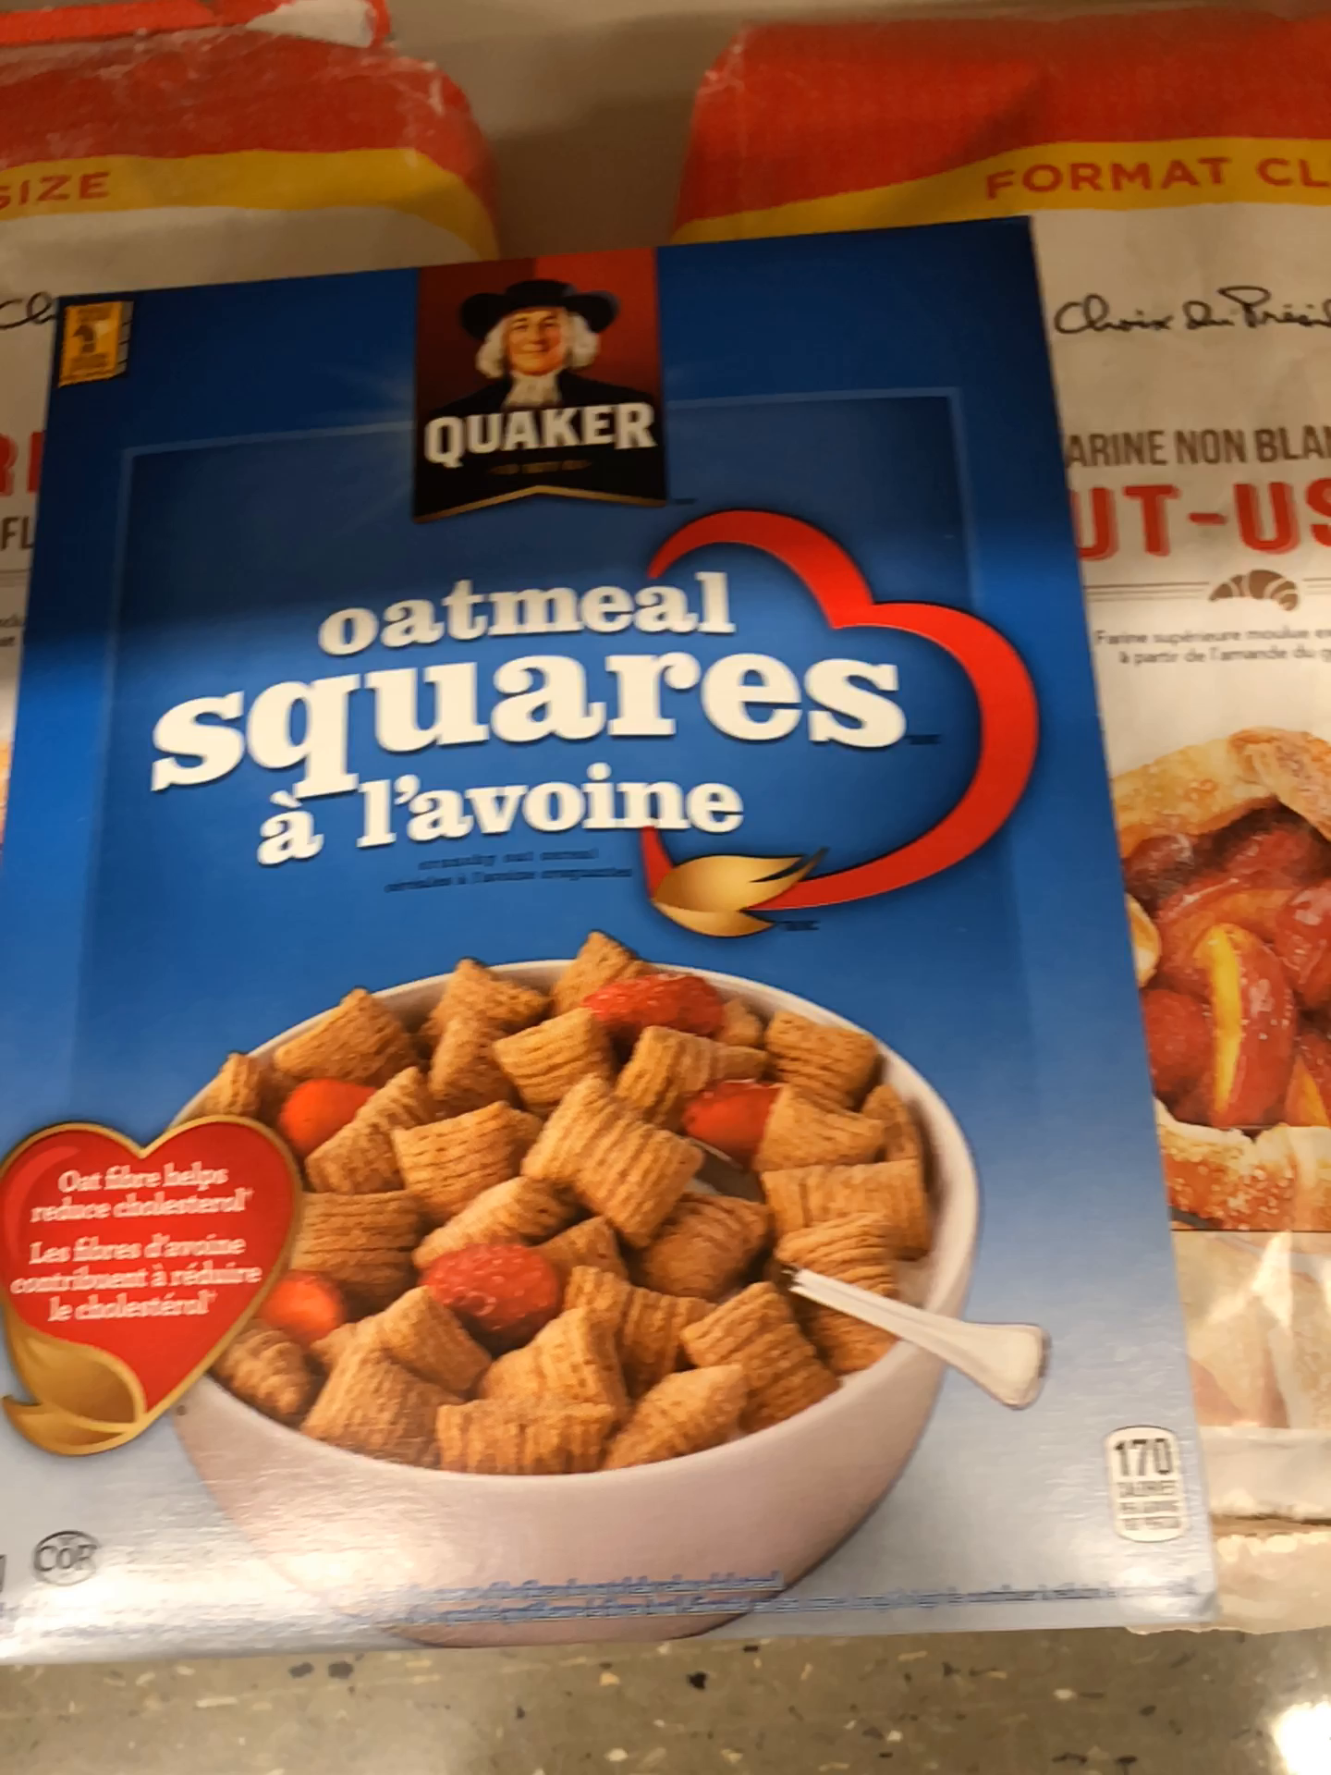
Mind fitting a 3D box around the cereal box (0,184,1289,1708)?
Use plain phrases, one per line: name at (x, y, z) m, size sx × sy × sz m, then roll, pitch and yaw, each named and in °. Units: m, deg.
cereal box at (-0.014, 0.000, 0.300) m, size 0.210 × 0.060 × 0.280 m, roll -3°, pitch 71°, yaw 3°
